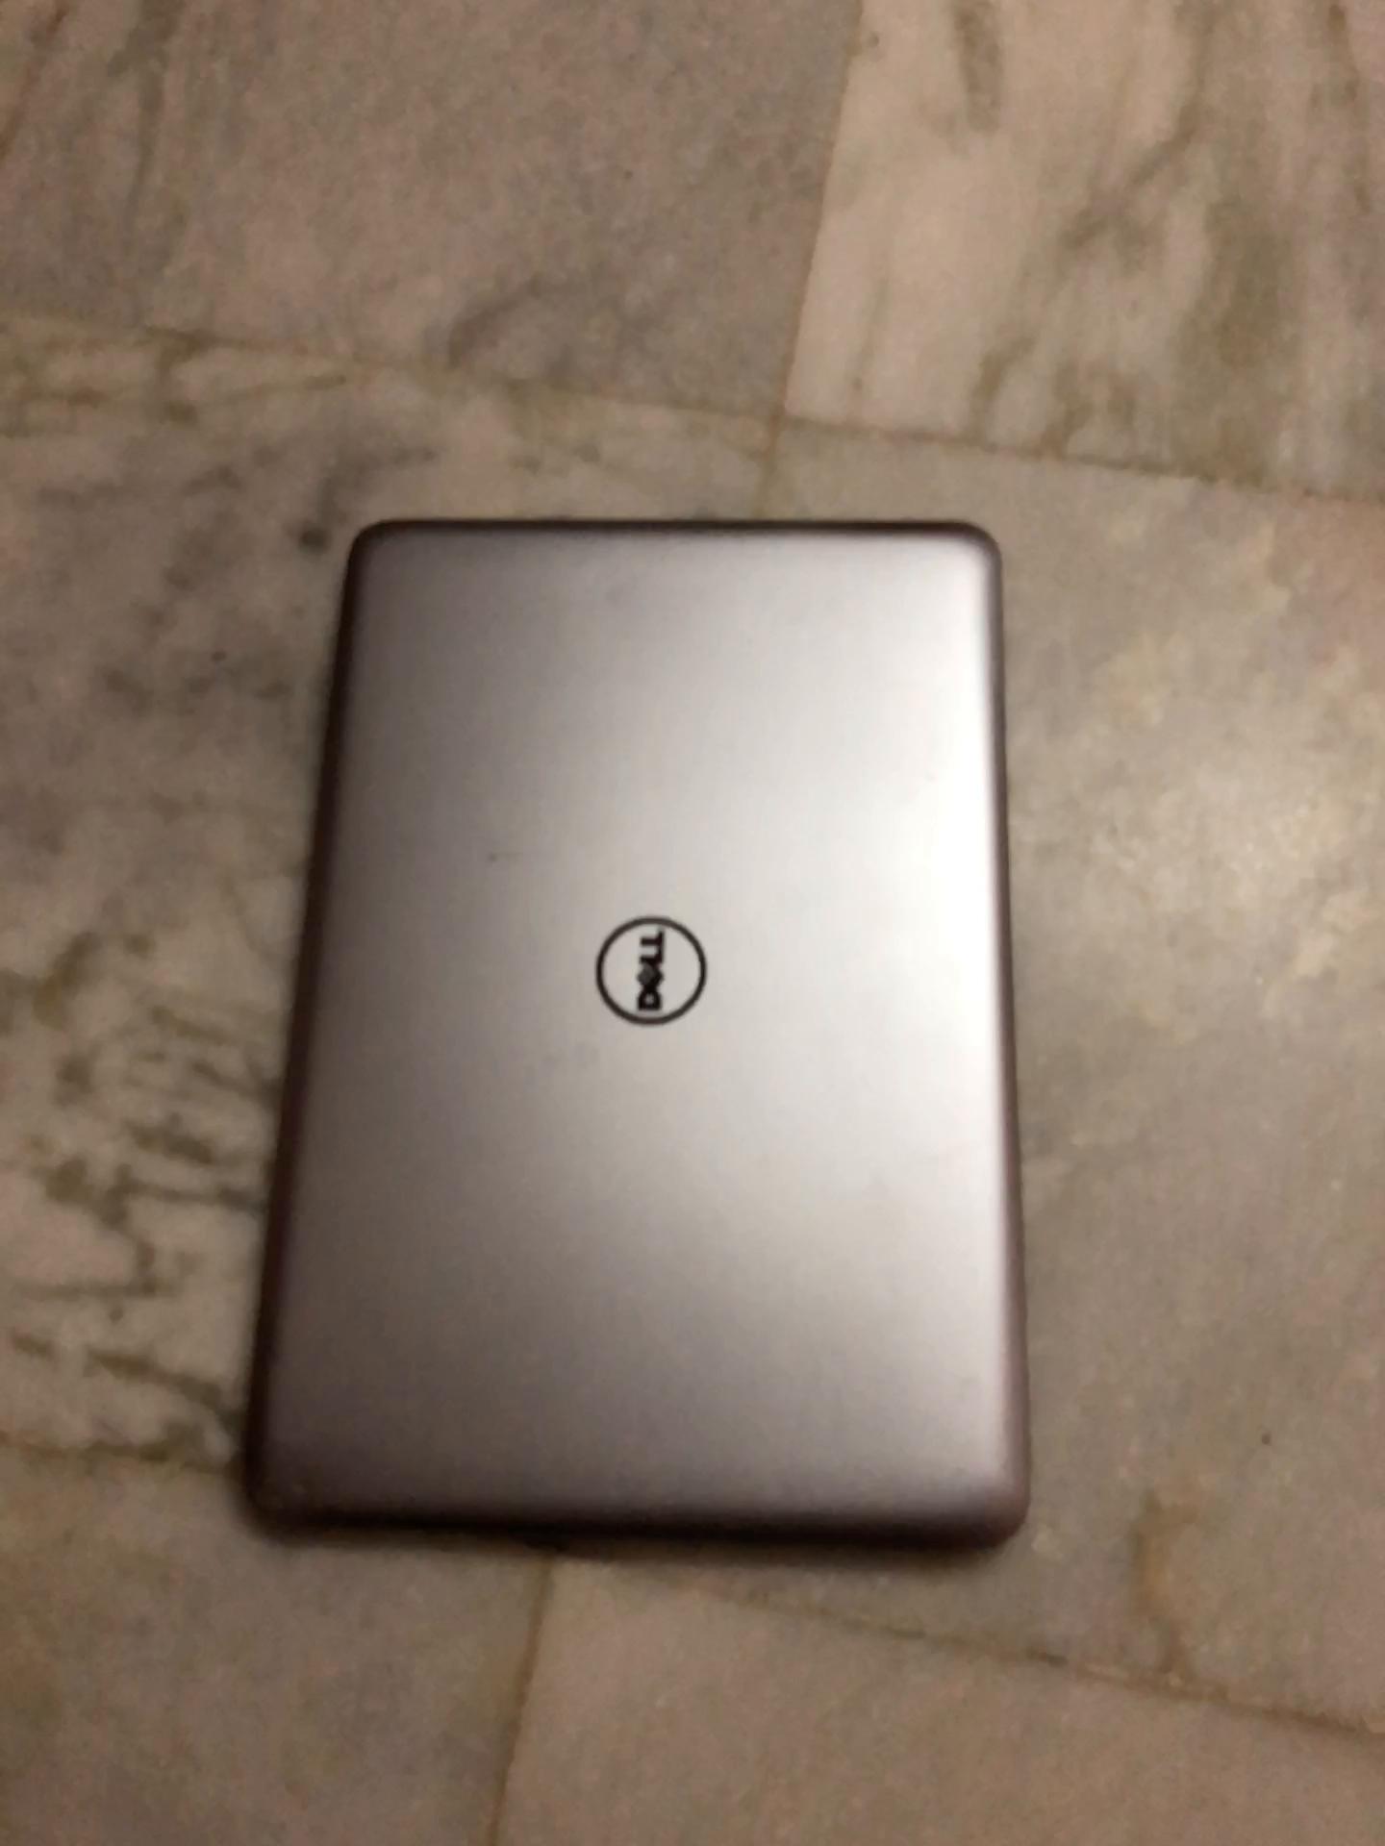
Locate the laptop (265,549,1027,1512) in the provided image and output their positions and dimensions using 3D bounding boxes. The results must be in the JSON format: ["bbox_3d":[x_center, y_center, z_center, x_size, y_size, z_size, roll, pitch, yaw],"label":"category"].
[{"bbox_3d":[-0.011,0.021,0.547,0.244,0.002,0.346,1,72,3],"label":"laptop"}]
